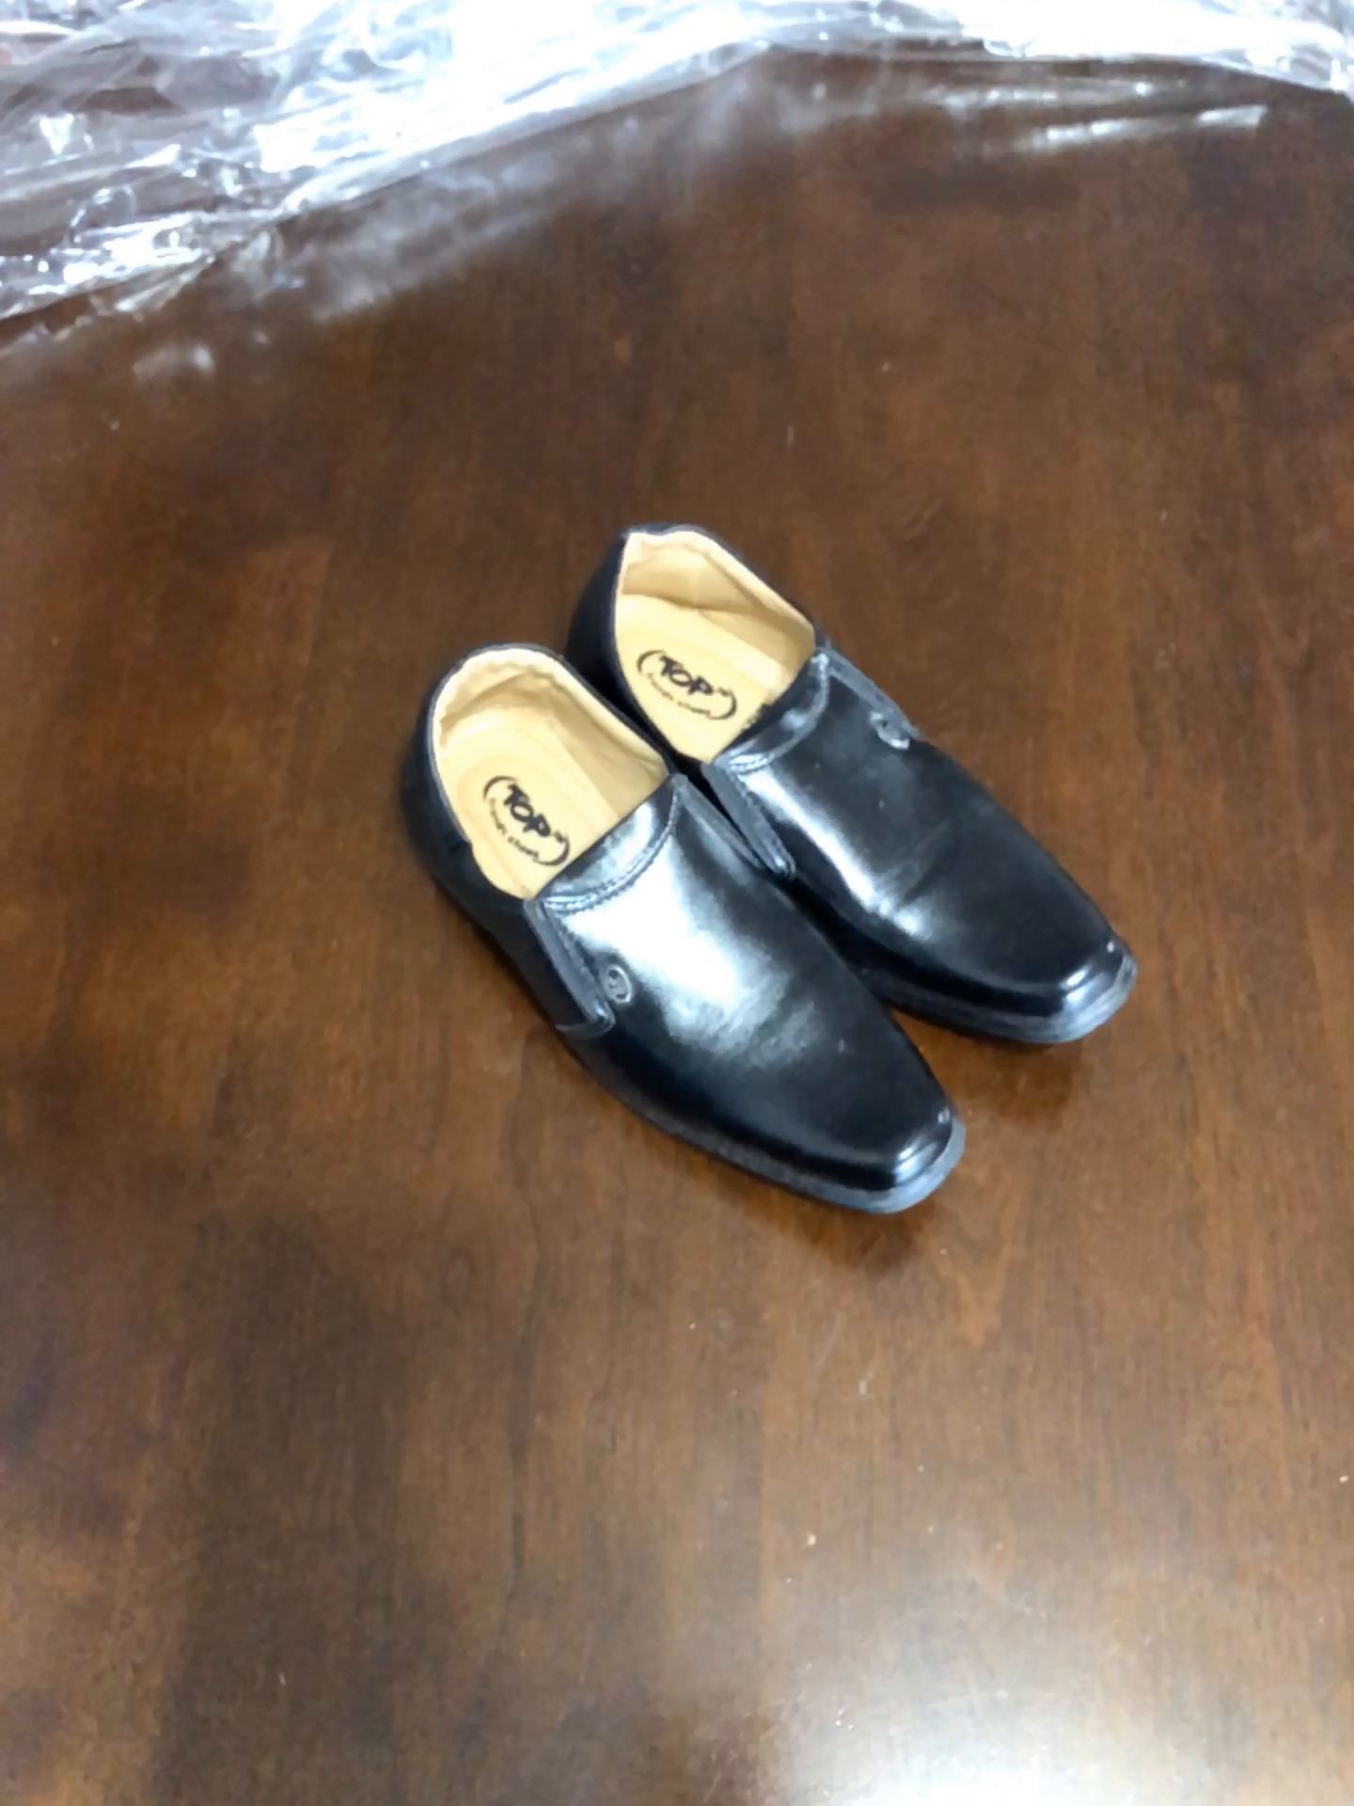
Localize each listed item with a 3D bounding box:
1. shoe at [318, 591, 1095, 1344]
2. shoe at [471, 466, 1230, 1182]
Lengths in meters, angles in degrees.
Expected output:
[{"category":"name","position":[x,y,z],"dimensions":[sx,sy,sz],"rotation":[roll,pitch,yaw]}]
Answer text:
[{"category":"shoe","position":[0.003,0.015,0.475],"dimensions":[0.090,0.080,0.230],"rotation":[-42,67,-18]},{"category":"shoe","position":[0.048,-0.031,0.501],"dimensions":[0.090,0.090,0.230],"rotation":[-42,67,-18]}]
